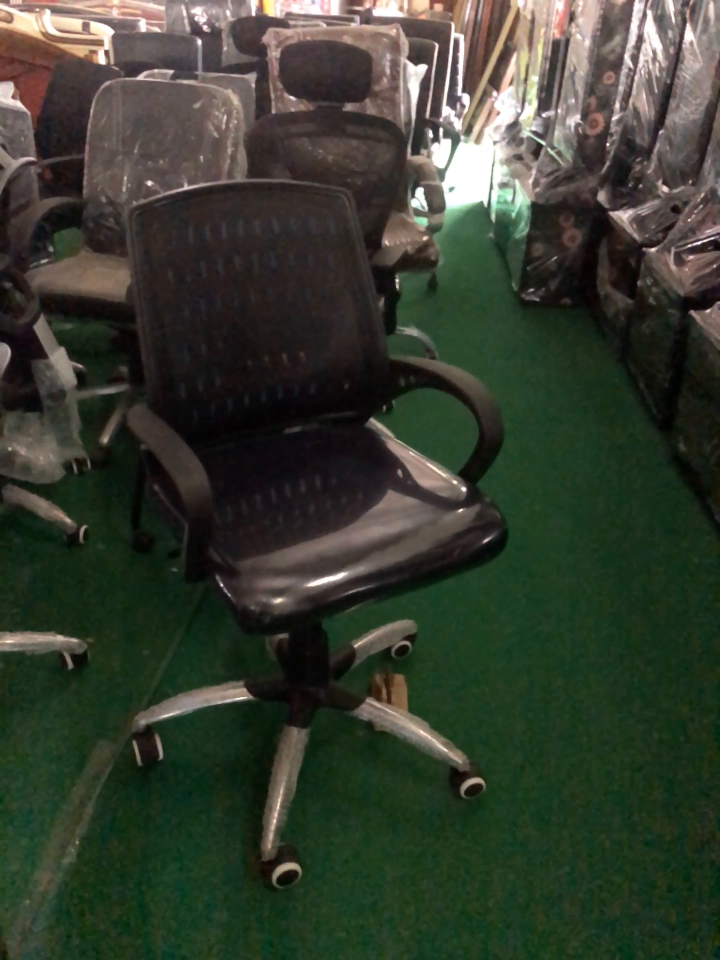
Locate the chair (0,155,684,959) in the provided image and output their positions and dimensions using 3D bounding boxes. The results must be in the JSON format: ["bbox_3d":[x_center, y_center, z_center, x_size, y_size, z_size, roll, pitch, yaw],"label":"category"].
[{"bbox_3d":[-0.131,0.024,1.437,0.732,0.995,0.872,-15,35,-28],"label":"chair"}]
